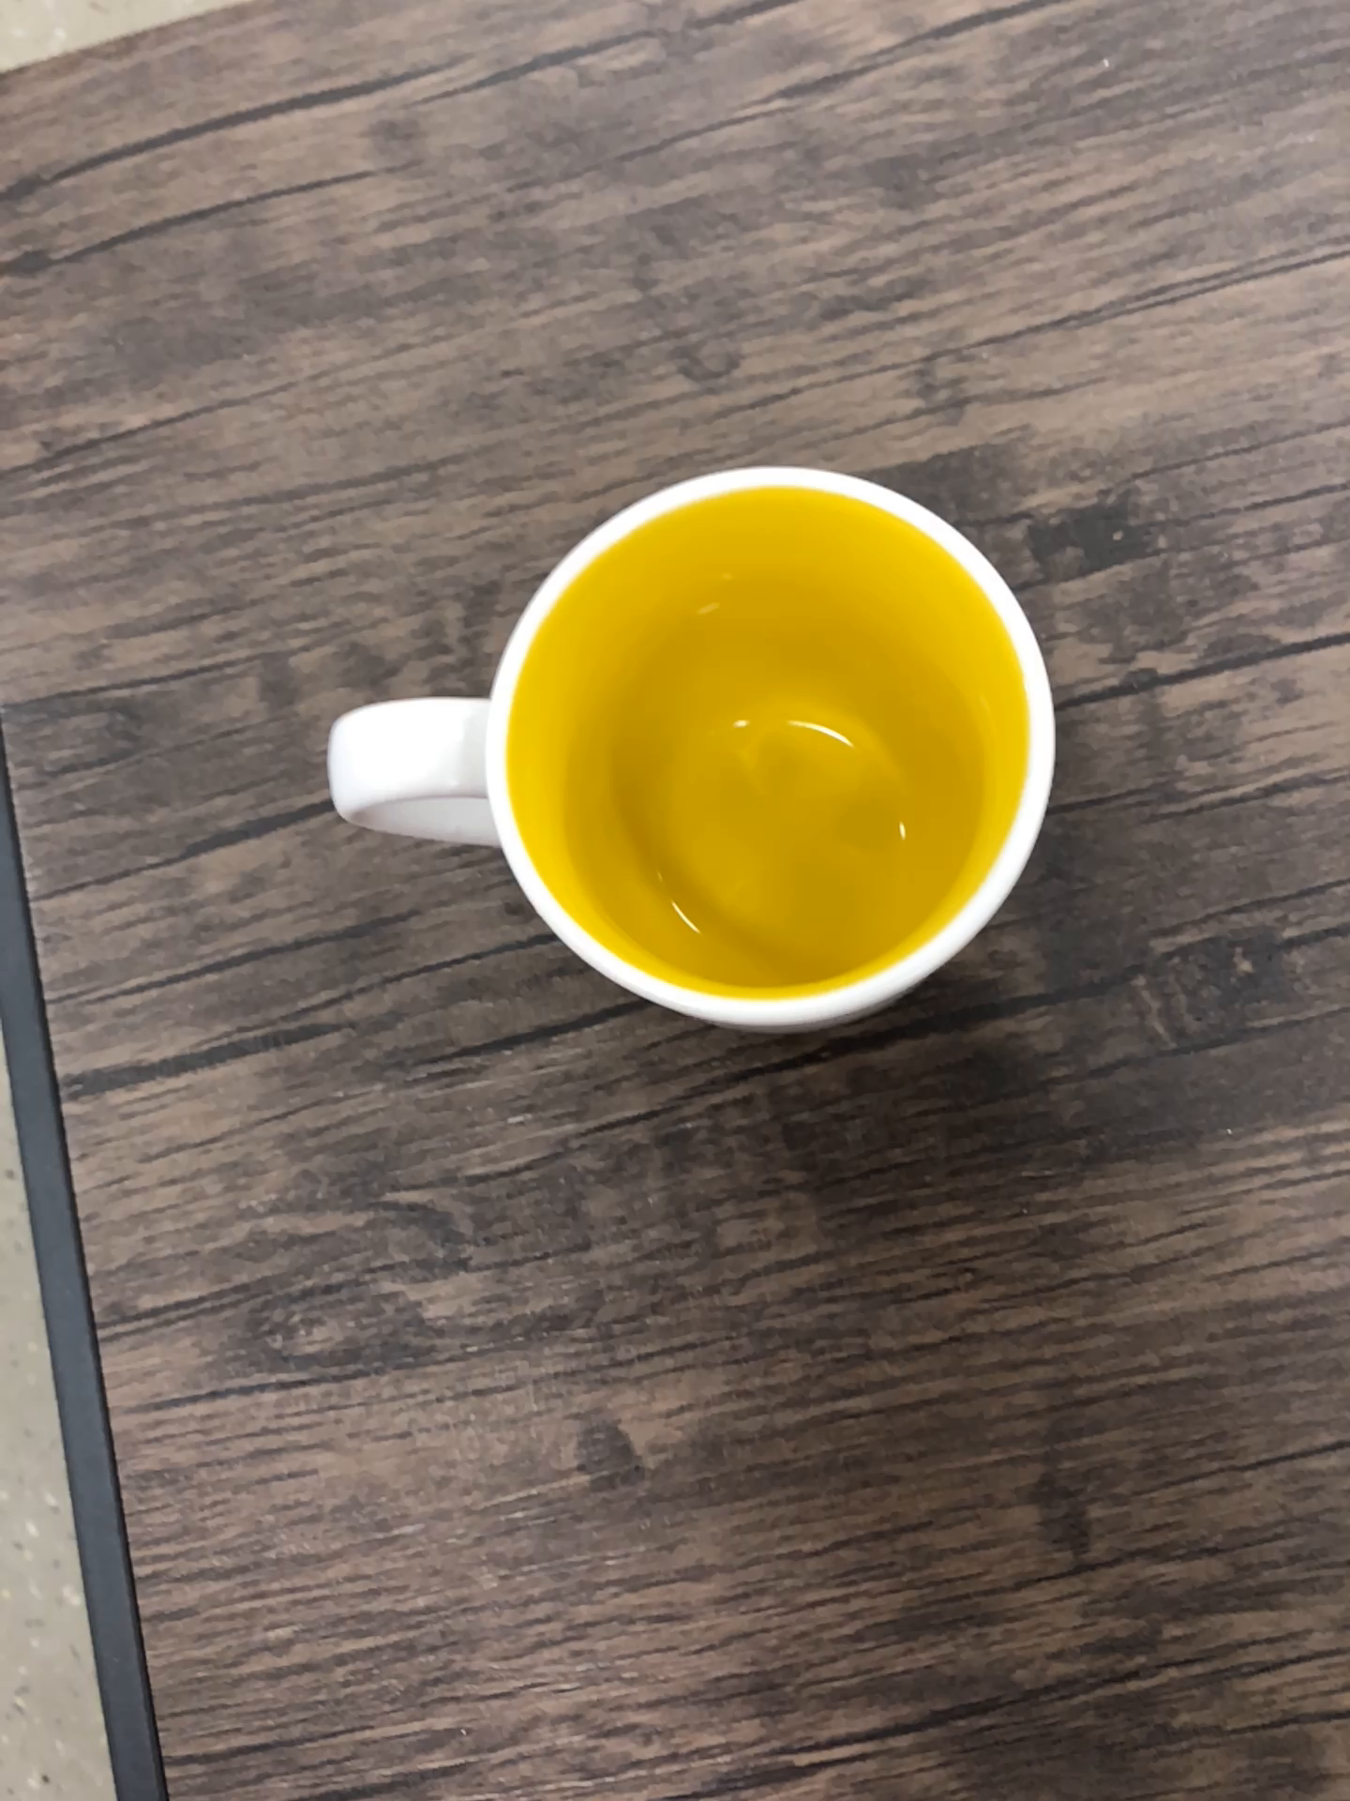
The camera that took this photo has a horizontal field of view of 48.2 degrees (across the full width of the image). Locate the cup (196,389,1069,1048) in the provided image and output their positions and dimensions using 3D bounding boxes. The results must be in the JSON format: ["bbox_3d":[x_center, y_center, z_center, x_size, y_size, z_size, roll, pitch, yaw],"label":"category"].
[{"bbox_3d":[-0.005,-0.026,0.293,0.140,0.090,0.100,-2,81,5],"label":"cup"}]
